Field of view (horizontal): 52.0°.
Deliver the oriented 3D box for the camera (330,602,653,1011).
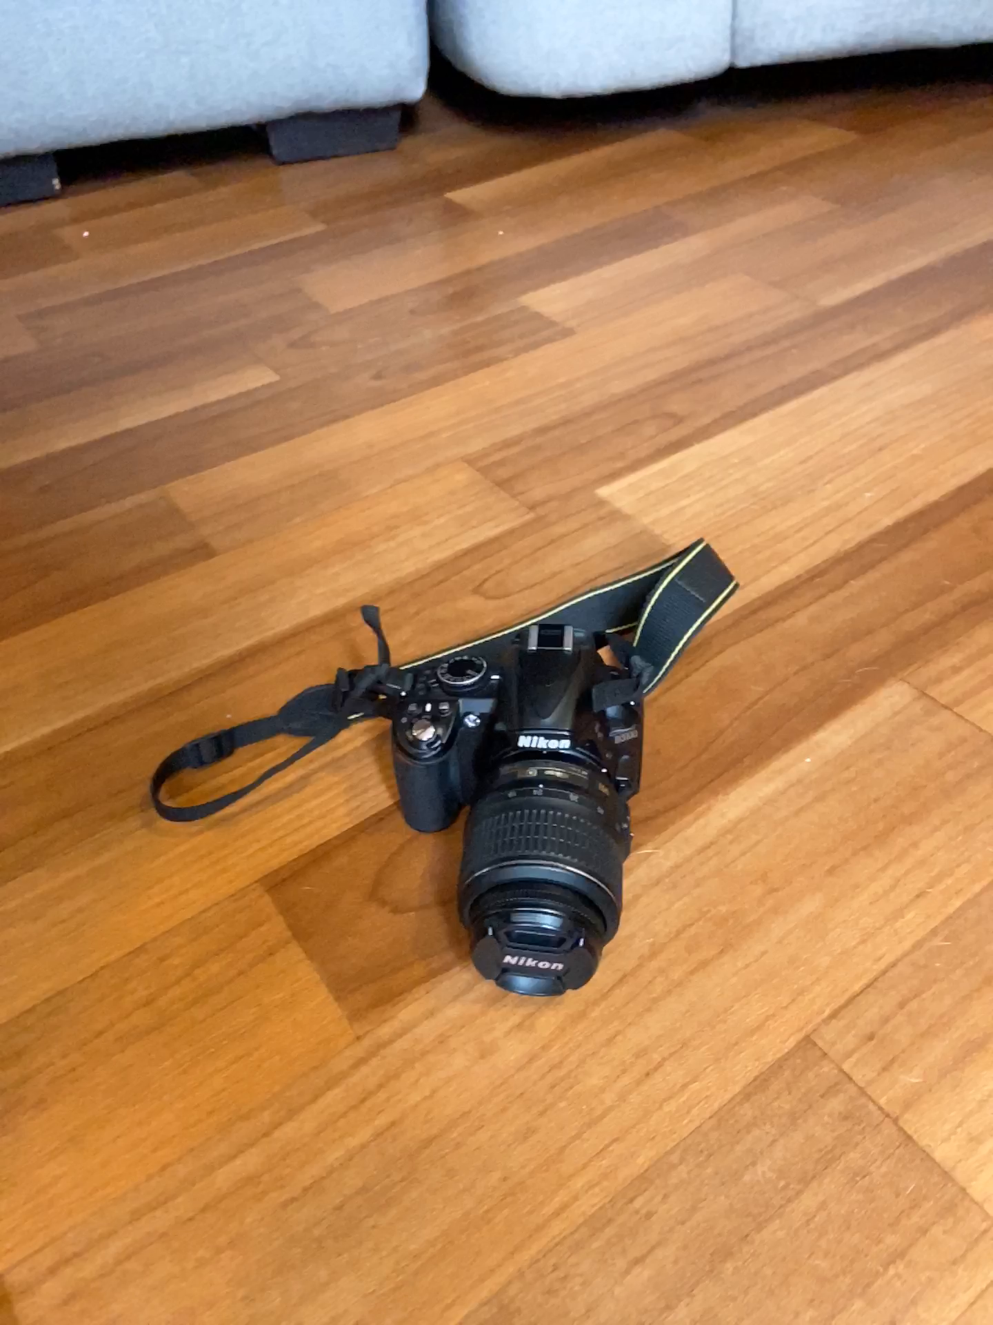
[{"bbox_3d":[0.006,0.059,0.468,0.120,0.090,0.163,1,42,6],"label":"camera"}]
